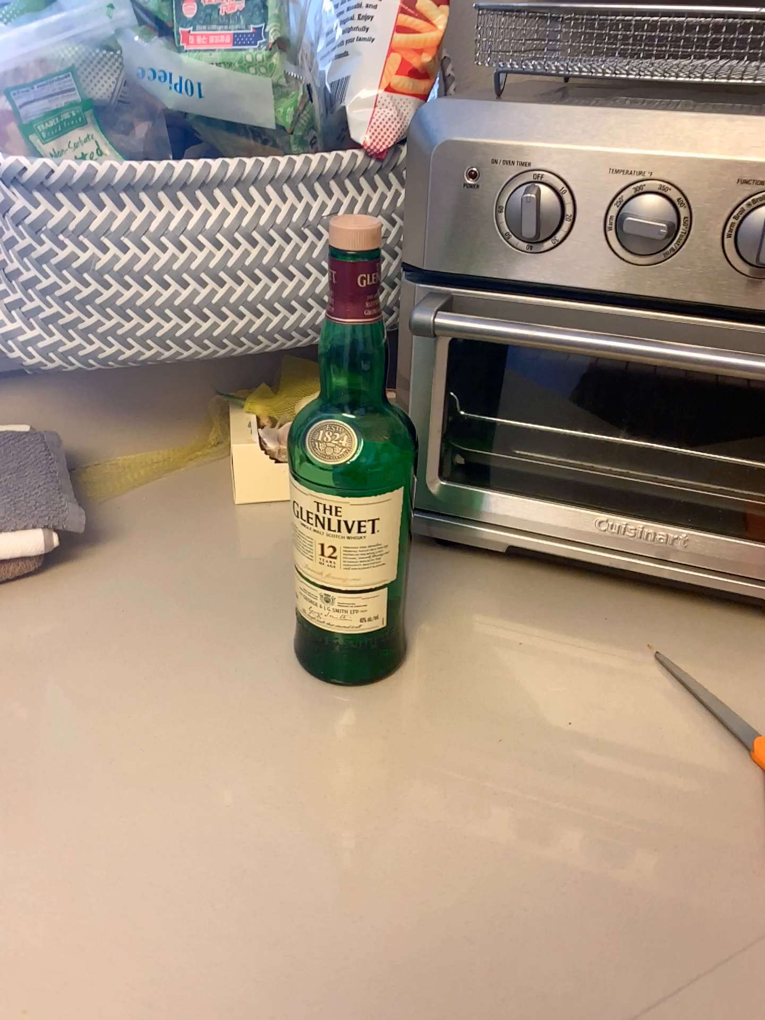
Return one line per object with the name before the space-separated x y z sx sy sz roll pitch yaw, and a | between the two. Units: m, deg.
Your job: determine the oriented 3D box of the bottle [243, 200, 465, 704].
bottle | -0.014 -0.028 0.471 0.090 0.278 0.090 1 30 -1
